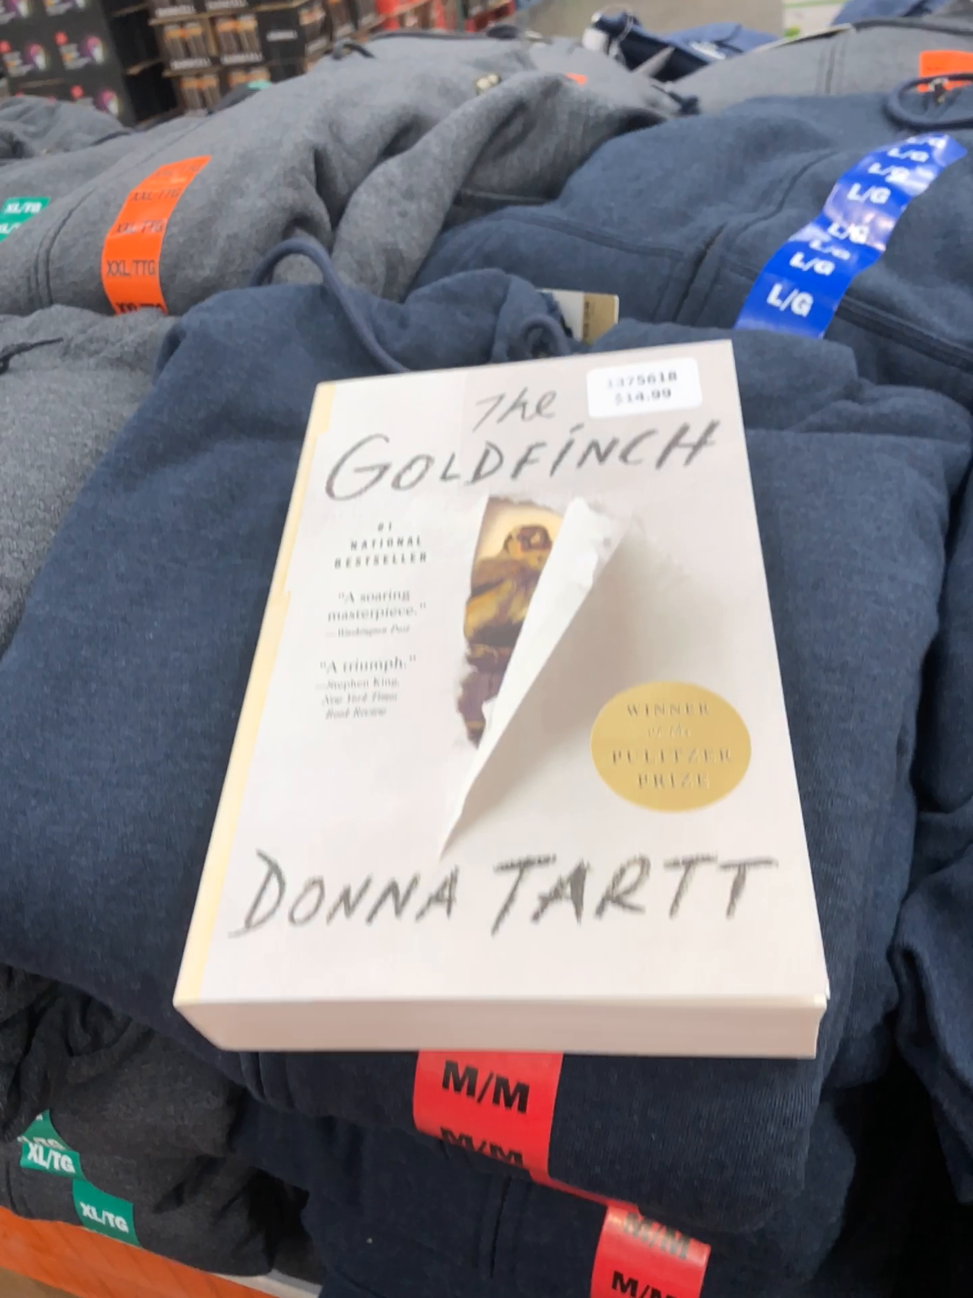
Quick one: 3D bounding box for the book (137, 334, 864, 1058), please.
[{"bbox_3d":[0.007,0.000,0.318,0.158,0.041,0.222,-3,51,9],"label":"book"}]
